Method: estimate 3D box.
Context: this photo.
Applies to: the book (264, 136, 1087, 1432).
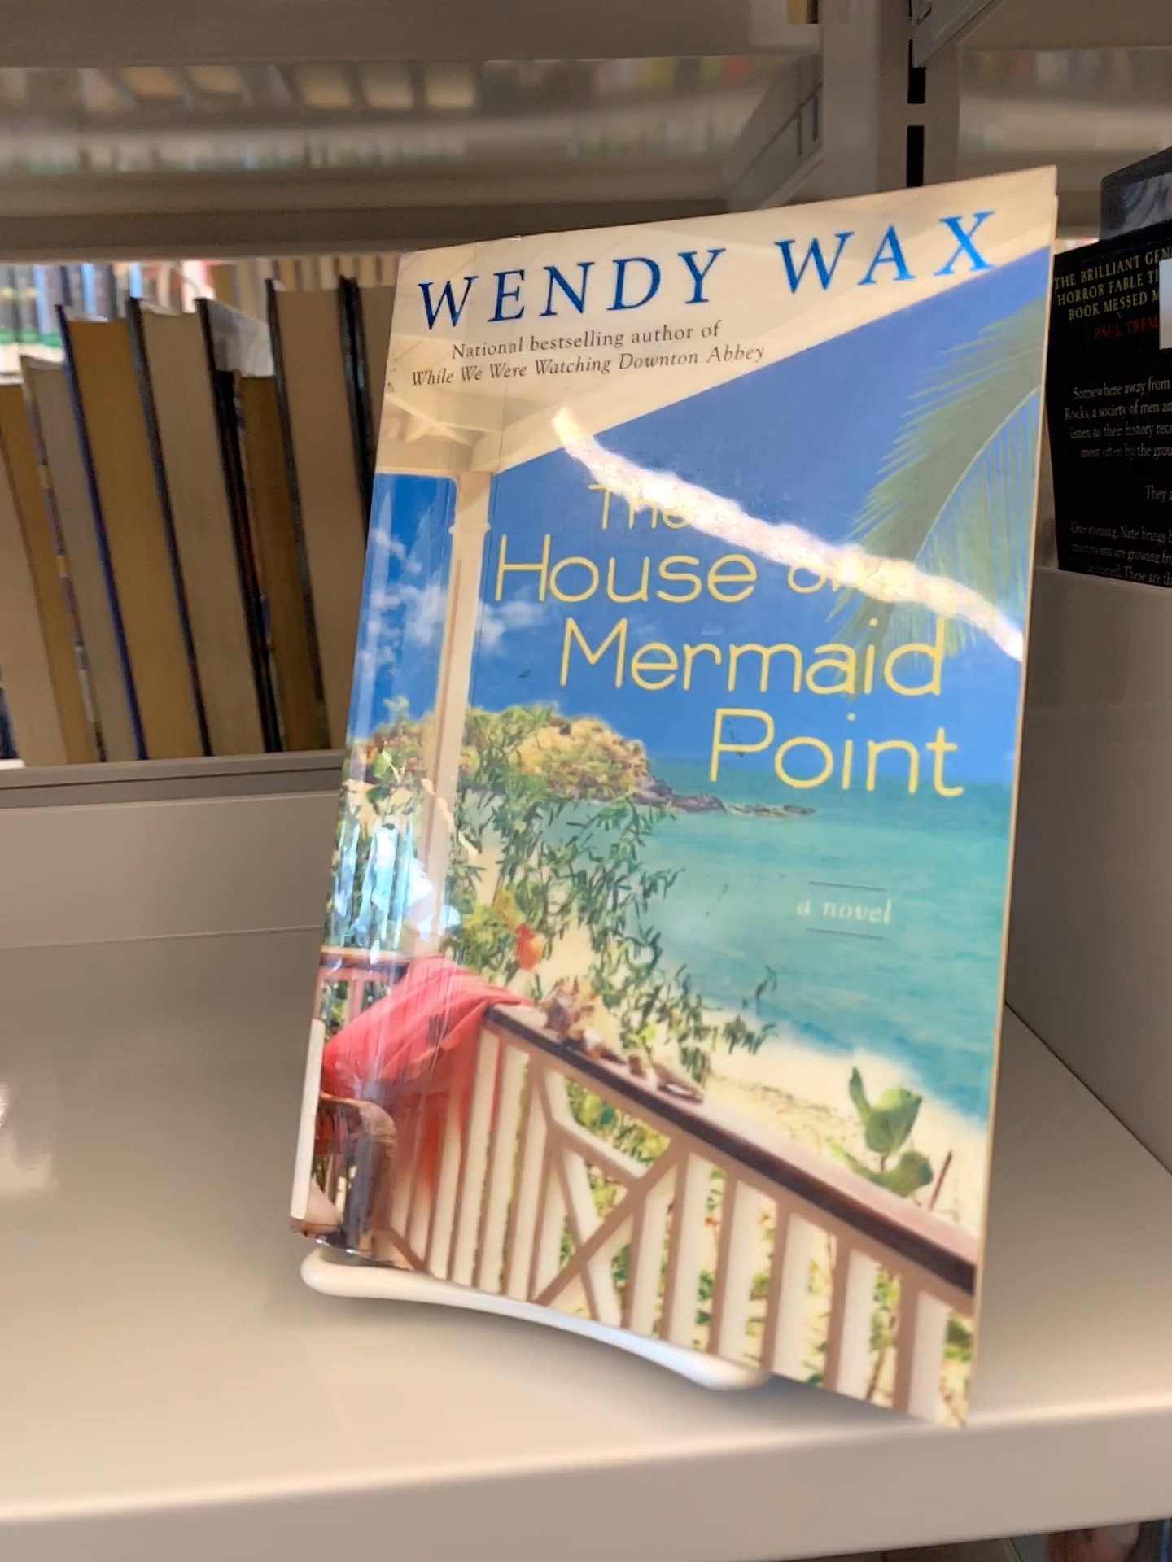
[{"bbox_3d":[0.016,-0.005,0.228,0.131,0.193,0.043,3,-5,26],"label":"book"}]
